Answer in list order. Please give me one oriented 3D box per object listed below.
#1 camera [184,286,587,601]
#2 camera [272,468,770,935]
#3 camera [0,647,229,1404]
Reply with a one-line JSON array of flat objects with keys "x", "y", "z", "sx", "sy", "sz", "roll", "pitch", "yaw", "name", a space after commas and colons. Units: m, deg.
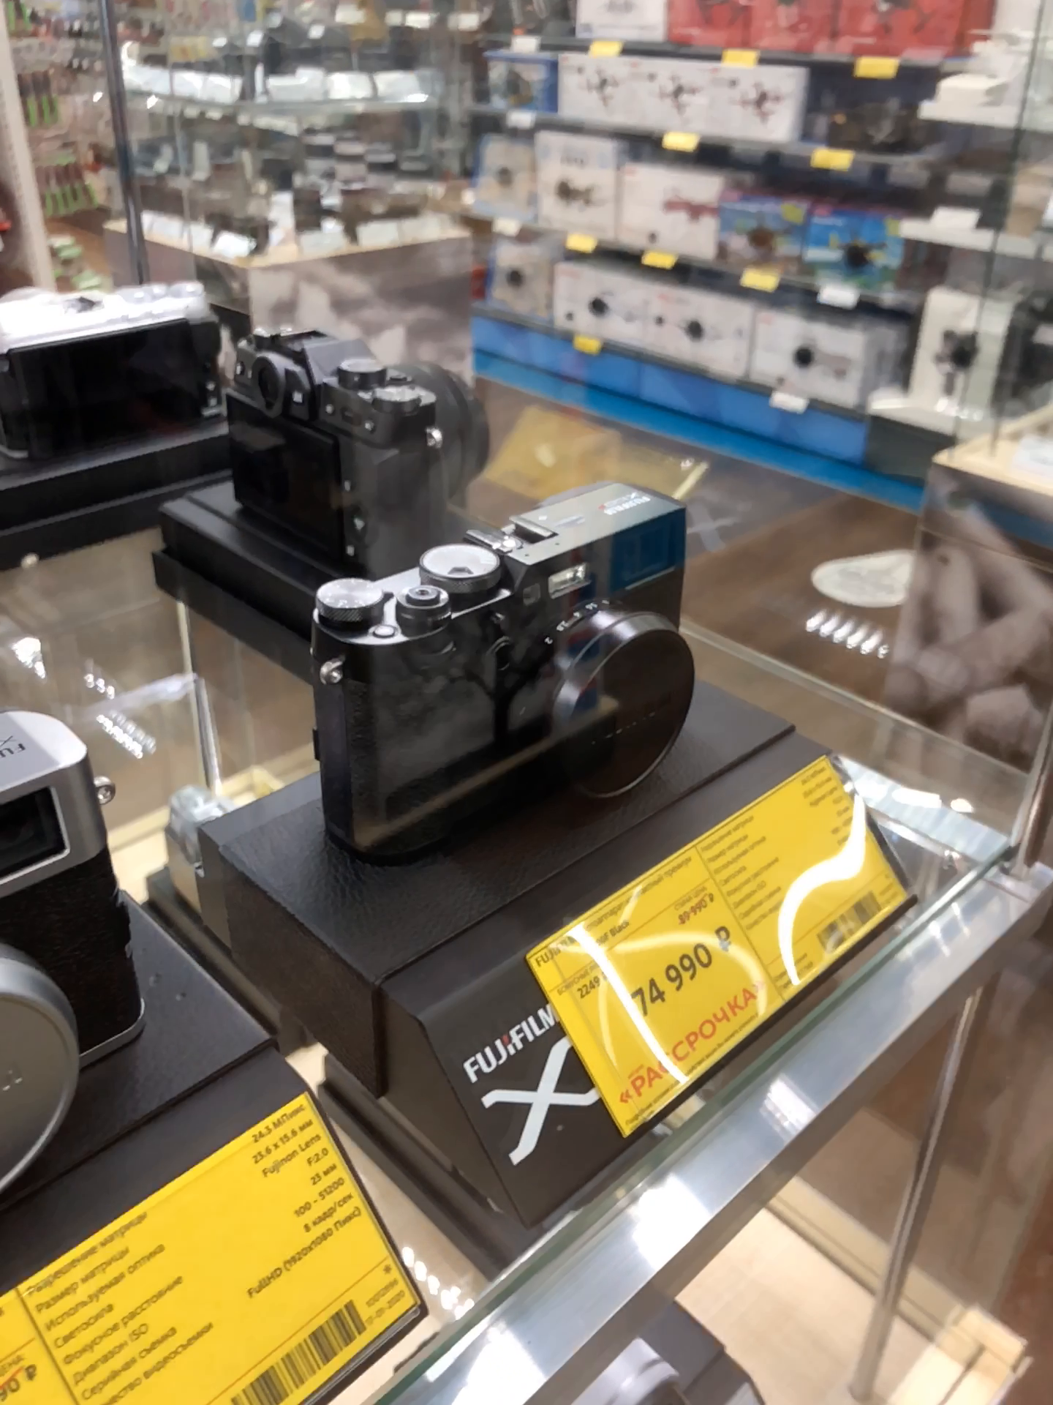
[{"x": -0.059, "y": -0.116, "z": 0.495, "sx": 0.104, "sy": 0.081, "sz": 0.131, "roll": -26, "pitch": 40, "yaw": -37, "name": "camera"}, {"x": 0.003, "y": -0.008, "z": 0.329, "sx": 0.131, "sy": 0.075, "sz": 0.054, "roll": -26, "pitch": 40, "yaw": -38, "name": "camera"}, {"x": -0.128, "y": 0.056, "z": 0.207, "sx": 0.131, "sy": 0.081, "sz": 0.054, "roll": -26, "pitch": 40, "yaw": -38, "name": "camera"}]
